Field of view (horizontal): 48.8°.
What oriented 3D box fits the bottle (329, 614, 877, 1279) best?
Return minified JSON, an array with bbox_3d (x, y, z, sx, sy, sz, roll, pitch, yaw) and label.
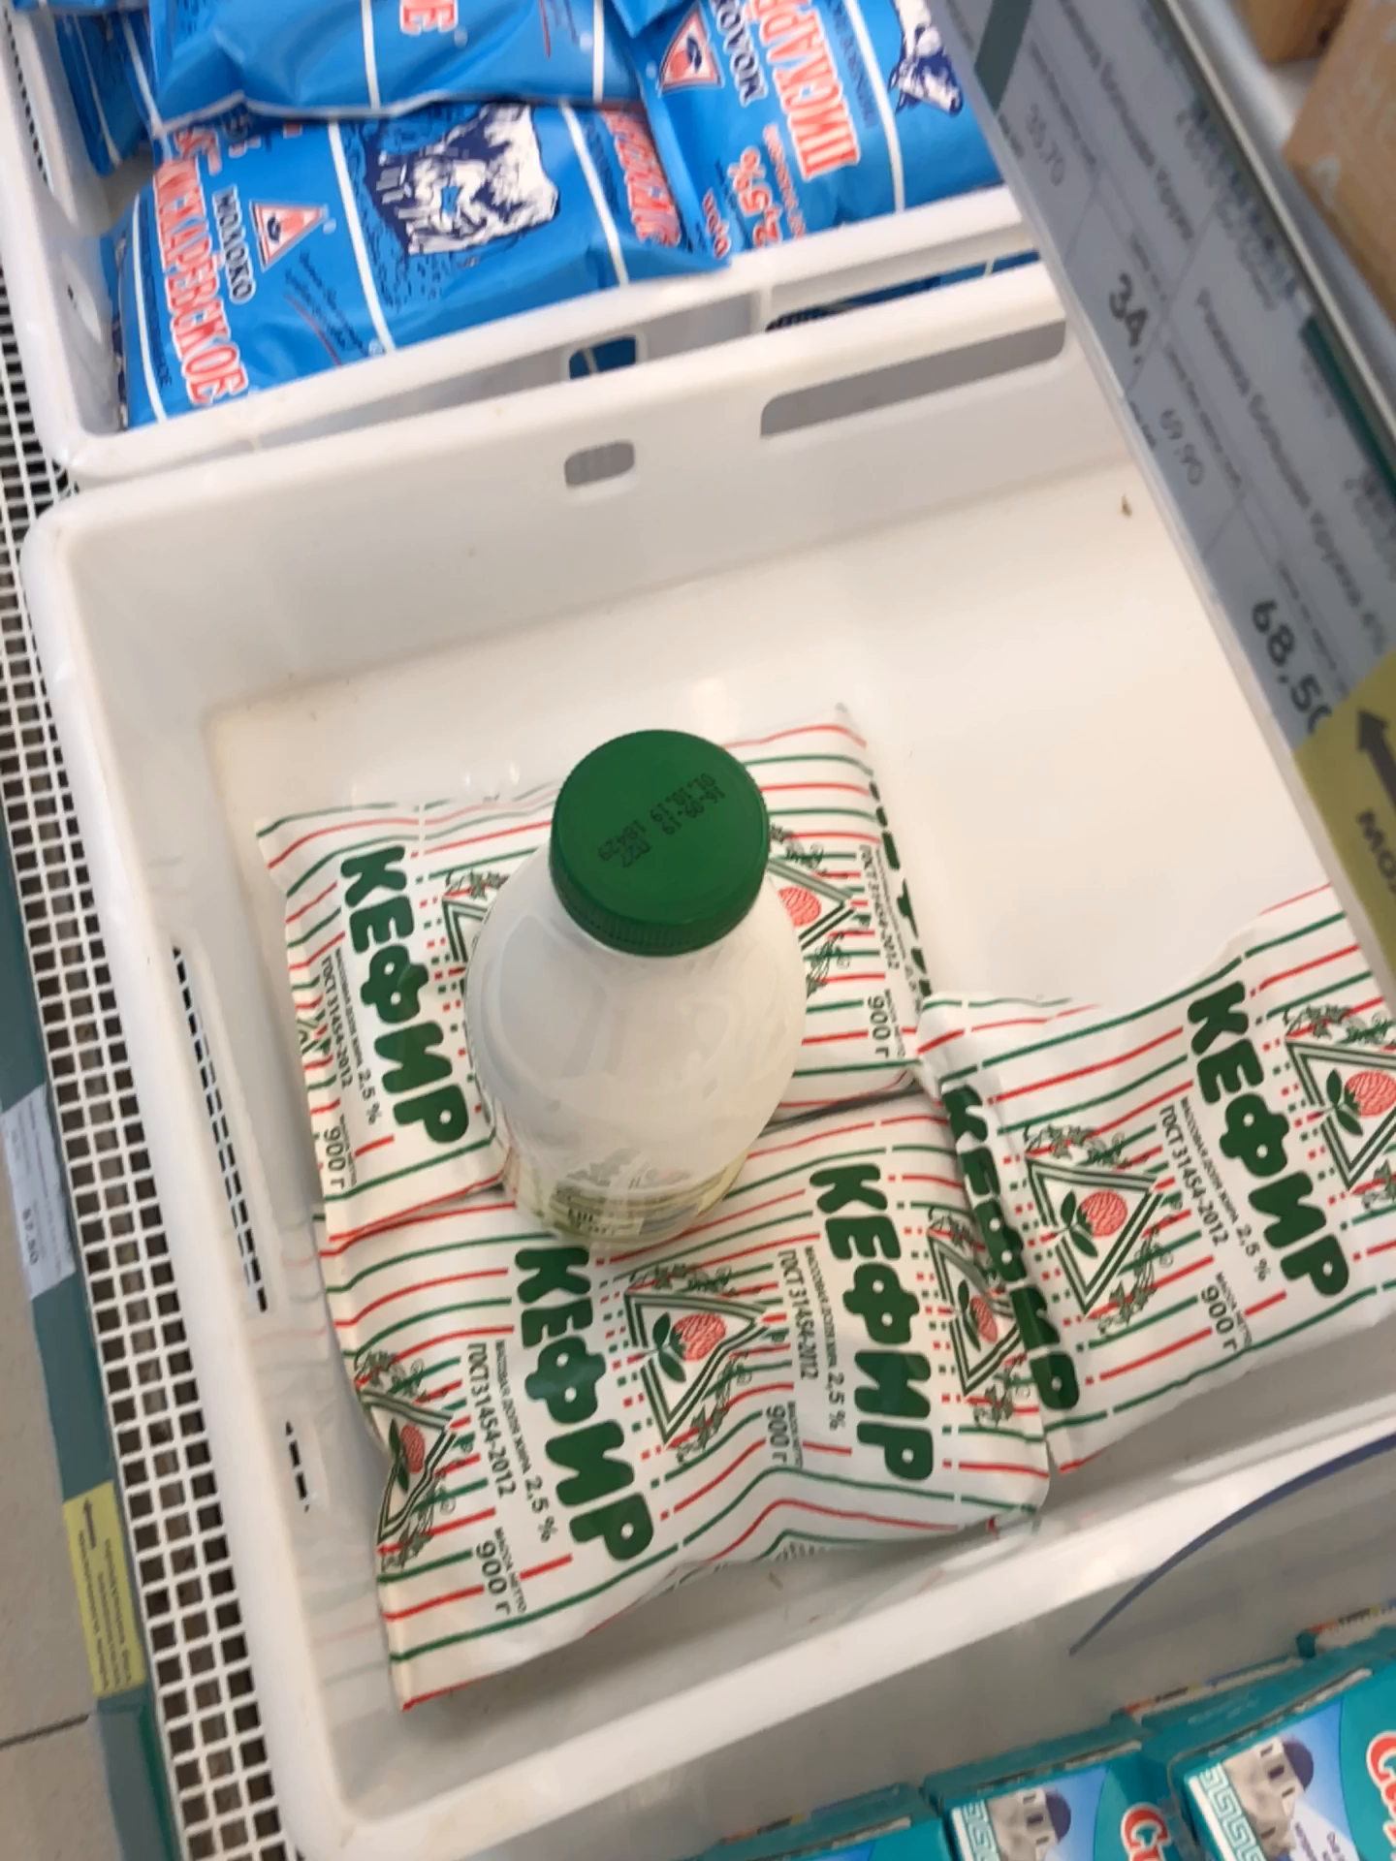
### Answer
[{"bbox_3d":[-0.018,0.028,0.395,0.090,0.269,0.090,0,72,0],"label":"bottle"}]
